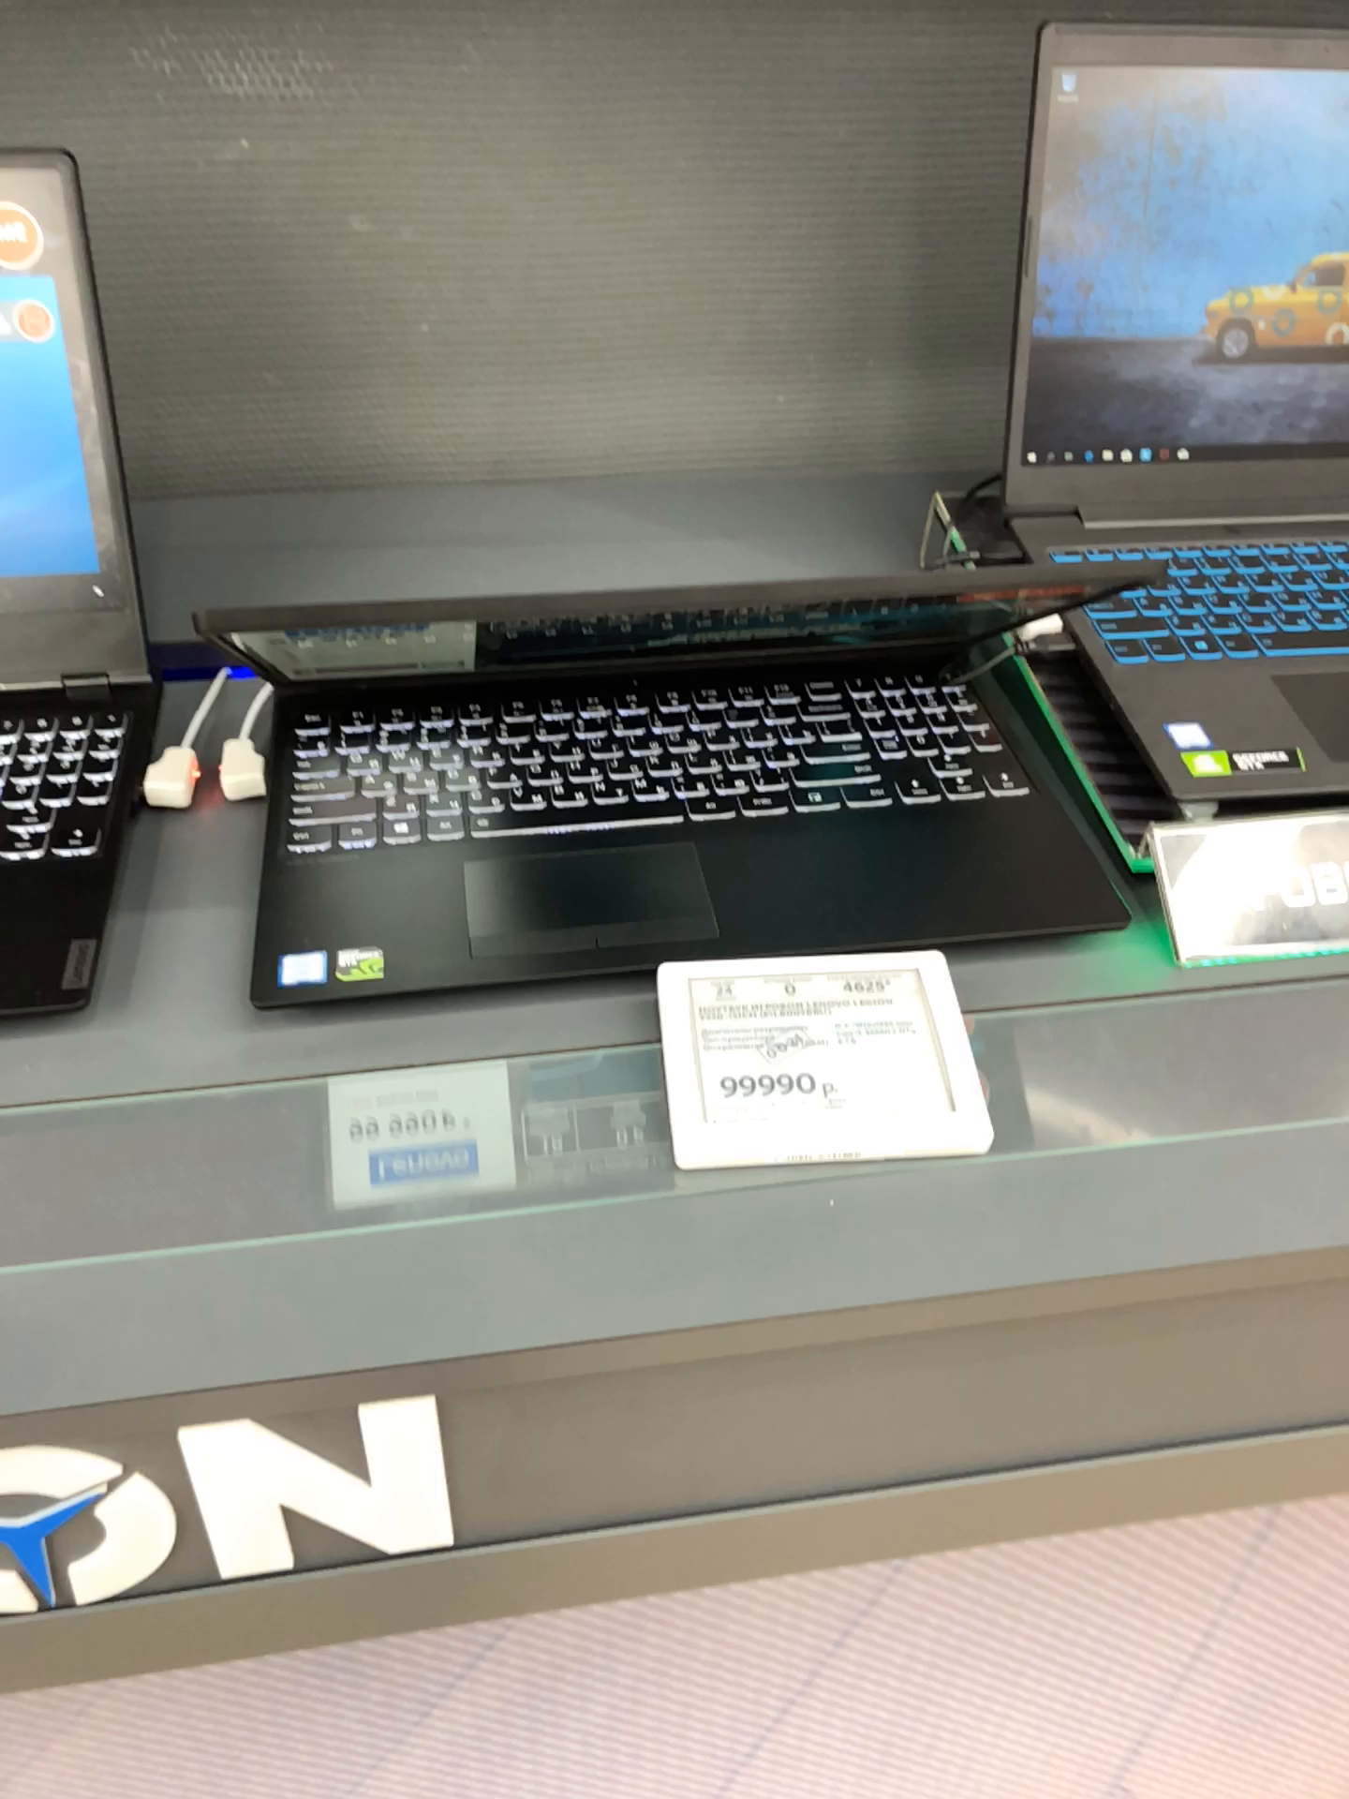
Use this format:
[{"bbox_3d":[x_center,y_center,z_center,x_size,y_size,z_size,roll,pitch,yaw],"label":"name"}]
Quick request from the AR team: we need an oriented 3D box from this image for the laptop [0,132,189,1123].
[{"bbox_3d":[-0.429,-0.133,0.586,0.364,0.231,0.309,-4,39,-6],"label":"laptop"}]

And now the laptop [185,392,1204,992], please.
[{"bbox_3d":[-0.004,-0.103,0.633,0.353,0.136,0.228,-5,38,-8],"label":"laptop"}]
